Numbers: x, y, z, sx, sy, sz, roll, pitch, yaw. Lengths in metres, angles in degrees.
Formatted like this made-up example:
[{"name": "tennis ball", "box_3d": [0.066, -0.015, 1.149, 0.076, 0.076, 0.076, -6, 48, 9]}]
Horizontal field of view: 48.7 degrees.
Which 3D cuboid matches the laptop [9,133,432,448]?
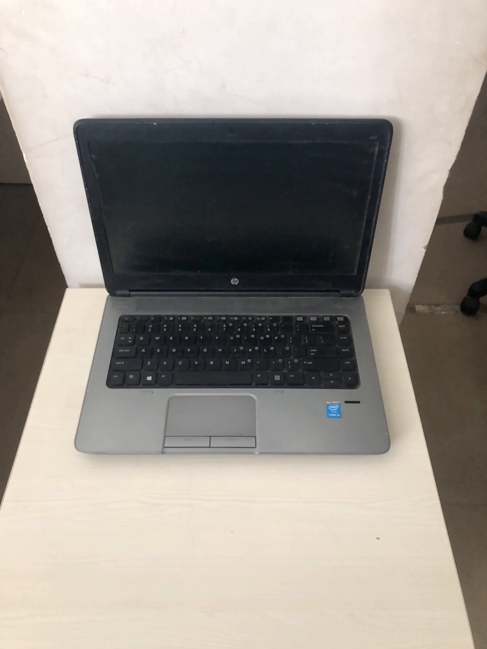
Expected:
[{"name": "laptop", "box_3d": [-0.012, -0.033, 0.543, 0.304, 0.209, 0.238, 1, 50, 0]}]
